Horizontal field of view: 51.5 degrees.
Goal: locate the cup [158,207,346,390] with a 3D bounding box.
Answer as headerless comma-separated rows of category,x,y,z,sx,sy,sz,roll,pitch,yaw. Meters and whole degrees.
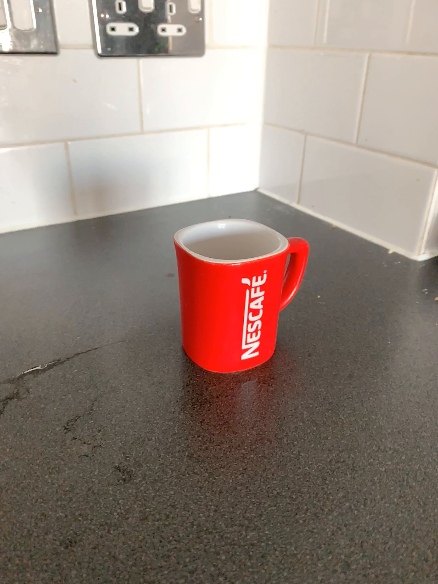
cup,0.022,-0.001,0.335,0.112,0.091,0.067,-14,31,-25
